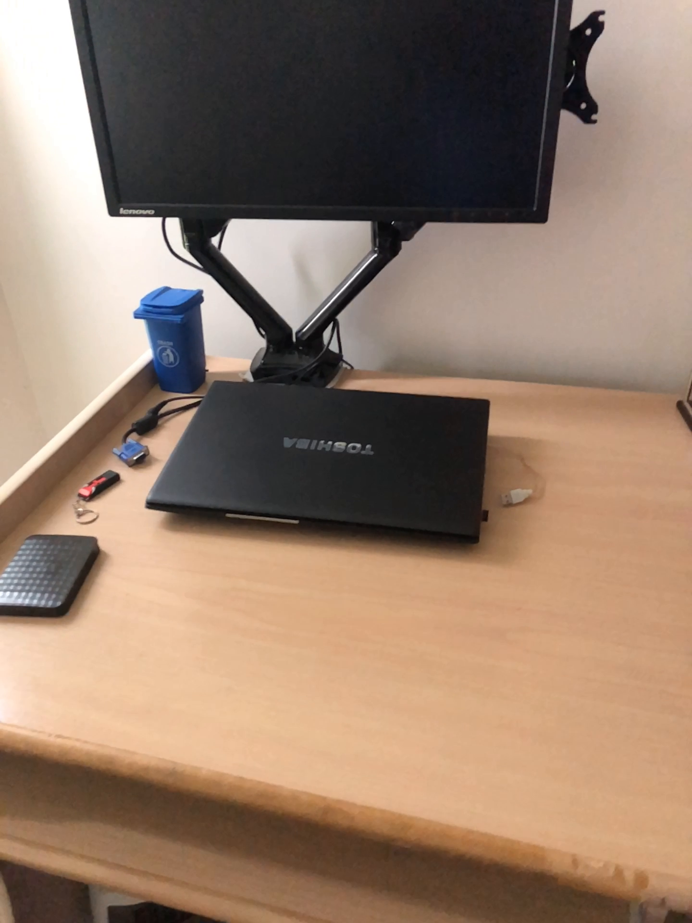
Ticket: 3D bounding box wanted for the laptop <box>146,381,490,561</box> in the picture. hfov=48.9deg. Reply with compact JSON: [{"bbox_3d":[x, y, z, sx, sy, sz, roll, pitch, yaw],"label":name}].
[{"bbox_3d":[-0.020,-0.003,0.948,0.380,0.029,0.258,5,40,10],"label":"laptop"}]
